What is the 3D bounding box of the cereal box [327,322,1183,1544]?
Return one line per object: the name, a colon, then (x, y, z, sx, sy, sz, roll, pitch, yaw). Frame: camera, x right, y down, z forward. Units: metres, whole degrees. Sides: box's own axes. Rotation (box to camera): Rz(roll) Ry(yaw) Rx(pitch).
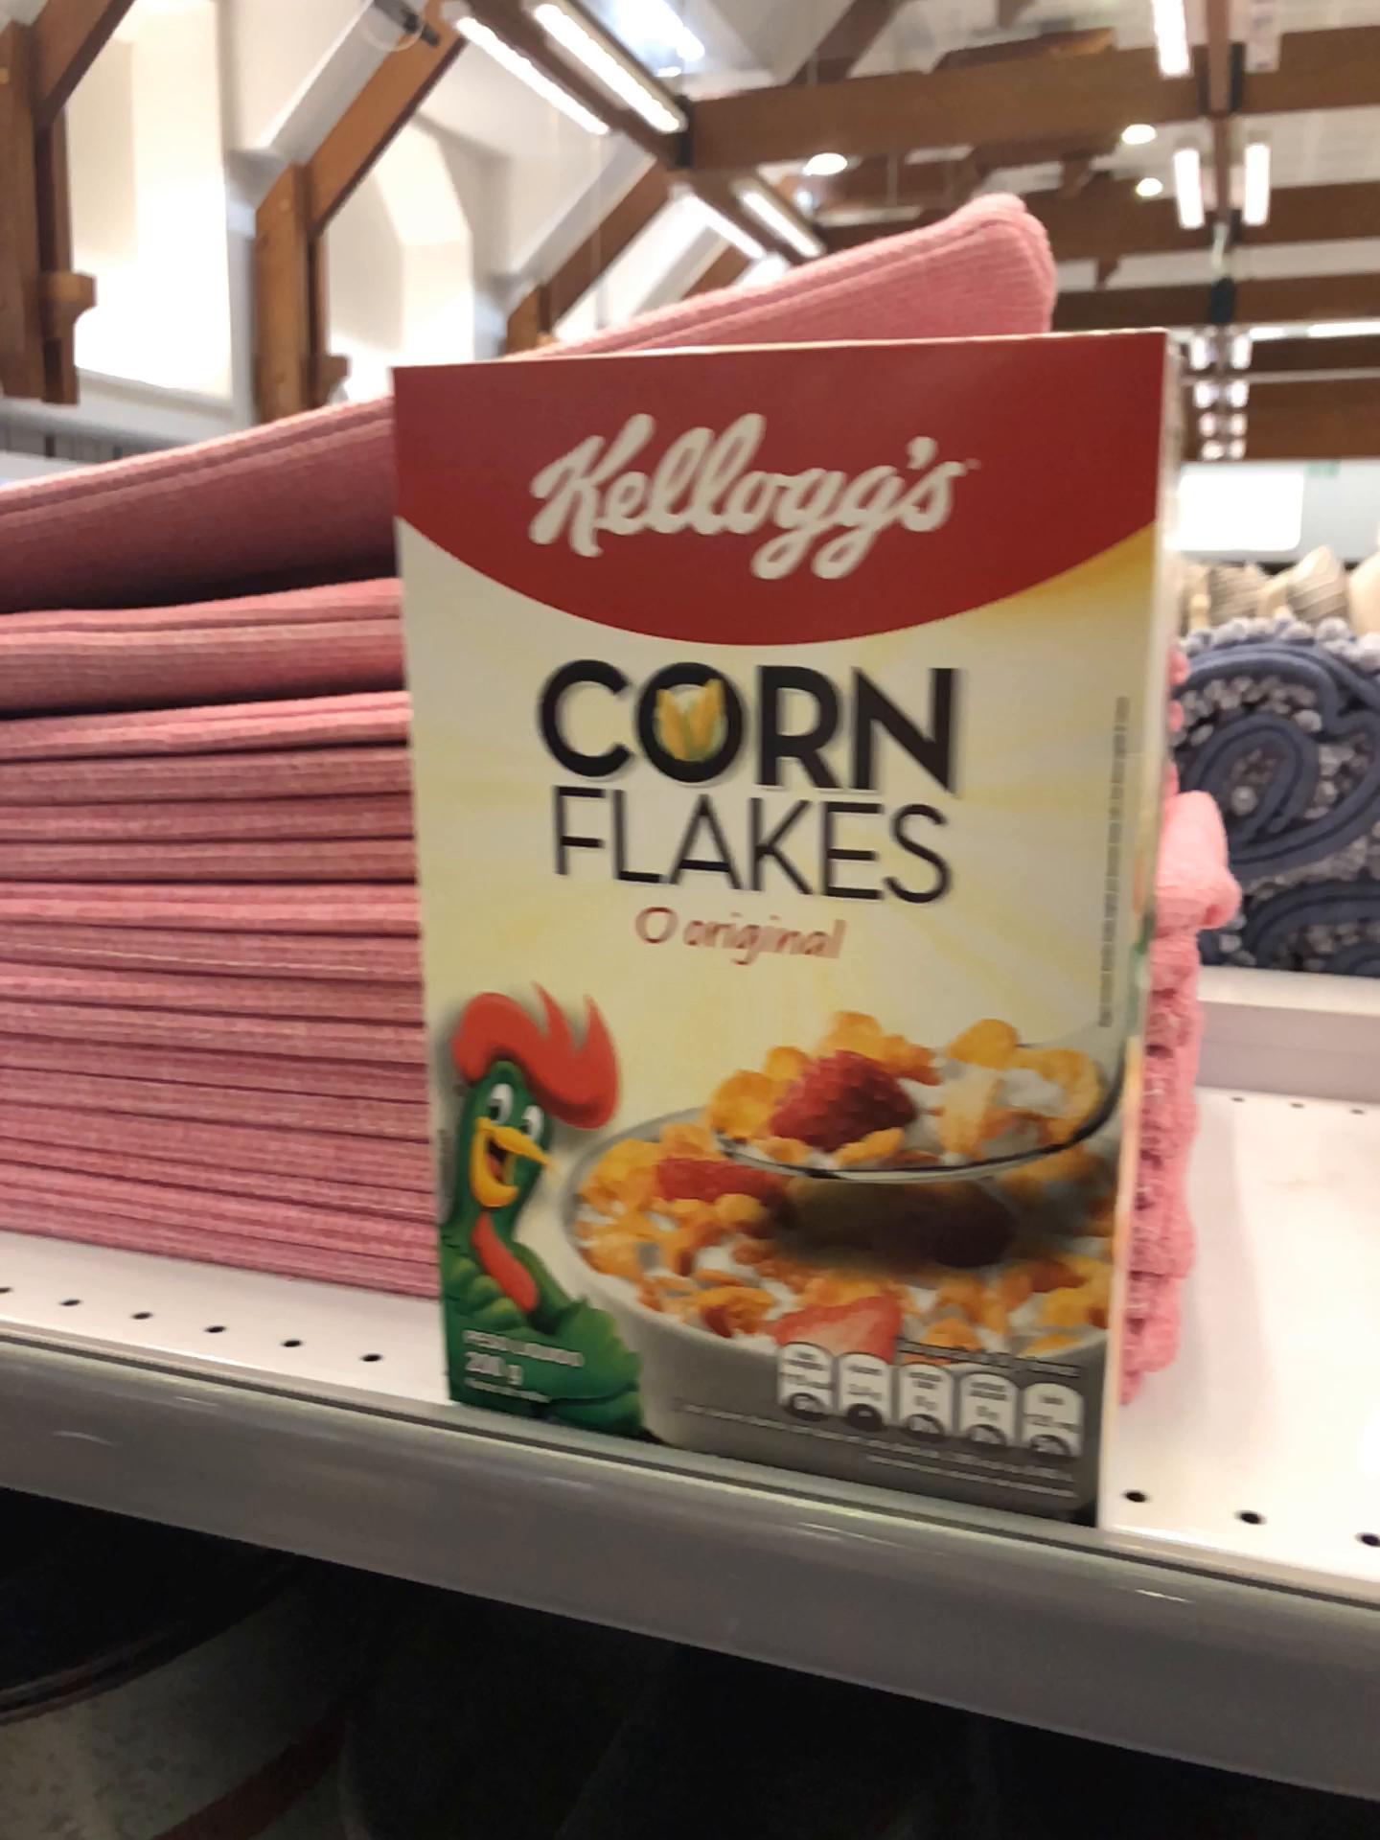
cereal box: (0.016, 0.001, 0.371, 0.180, 0.259, 0.060, 4, 15, 20)
